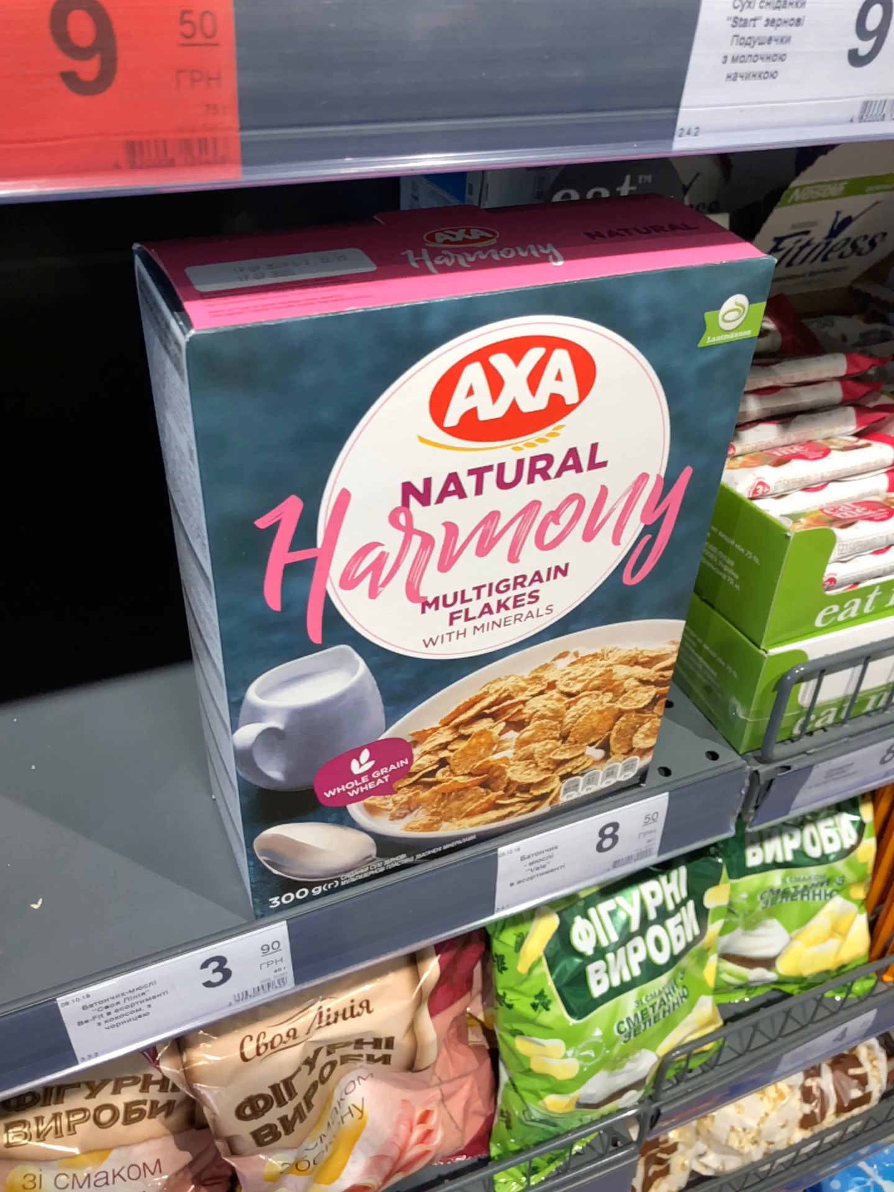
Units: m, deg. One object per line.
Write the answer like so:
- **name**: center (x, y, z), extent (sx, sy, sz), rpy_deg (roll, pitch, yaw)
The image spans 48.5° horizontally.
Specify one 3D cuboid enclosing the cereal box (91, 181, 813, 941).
- **cereal box**: center (-0.001, -0.007, 0.332), extent (0.180, 0.218, 0.070), rpy_deg (-14, 42, -21)
